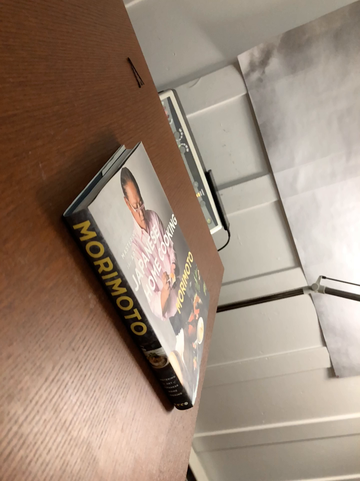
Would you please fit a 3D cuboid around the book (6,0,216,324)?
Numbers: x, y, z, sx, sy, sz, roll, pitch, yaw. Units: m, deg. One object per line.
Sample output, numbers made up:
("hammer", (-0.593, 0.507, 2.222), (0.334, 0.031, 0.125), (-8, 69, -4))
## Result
("book", (-0.041, -0.098, 0.405), (0.221, 0.030, 0.300), (-29, 102, -72))
